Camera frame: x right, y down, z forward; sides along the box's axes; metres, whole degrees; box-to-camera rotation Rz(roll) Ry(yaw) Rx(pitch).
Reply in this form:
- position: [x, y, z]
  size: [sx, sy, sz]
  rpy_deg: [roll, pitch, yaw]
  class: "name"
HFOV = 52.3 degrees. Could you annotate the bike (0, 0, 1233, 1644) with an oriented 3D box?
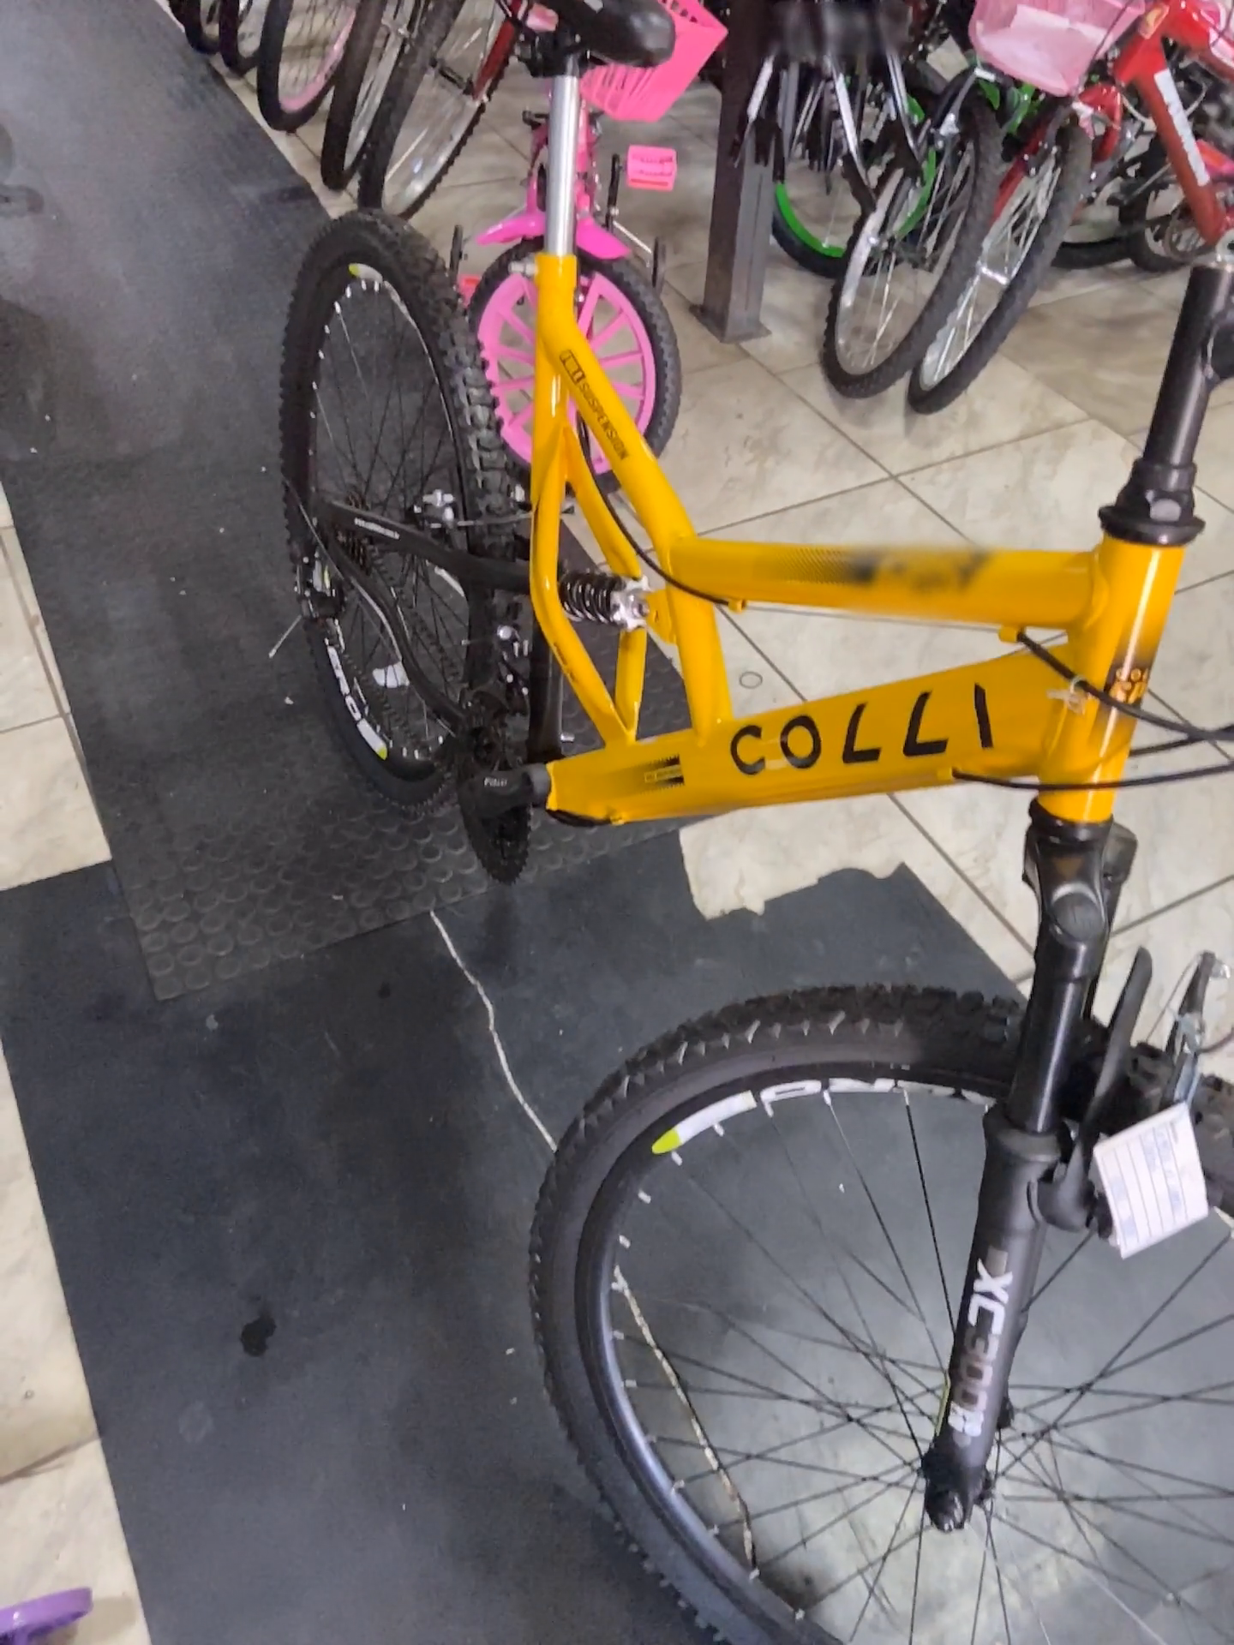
- position: [0.026, -0.167, 0.873]
  size: [0.476, 0.987, 1.524]
  rpy_deg: [-25, 51, -24]
  class: "bike"
